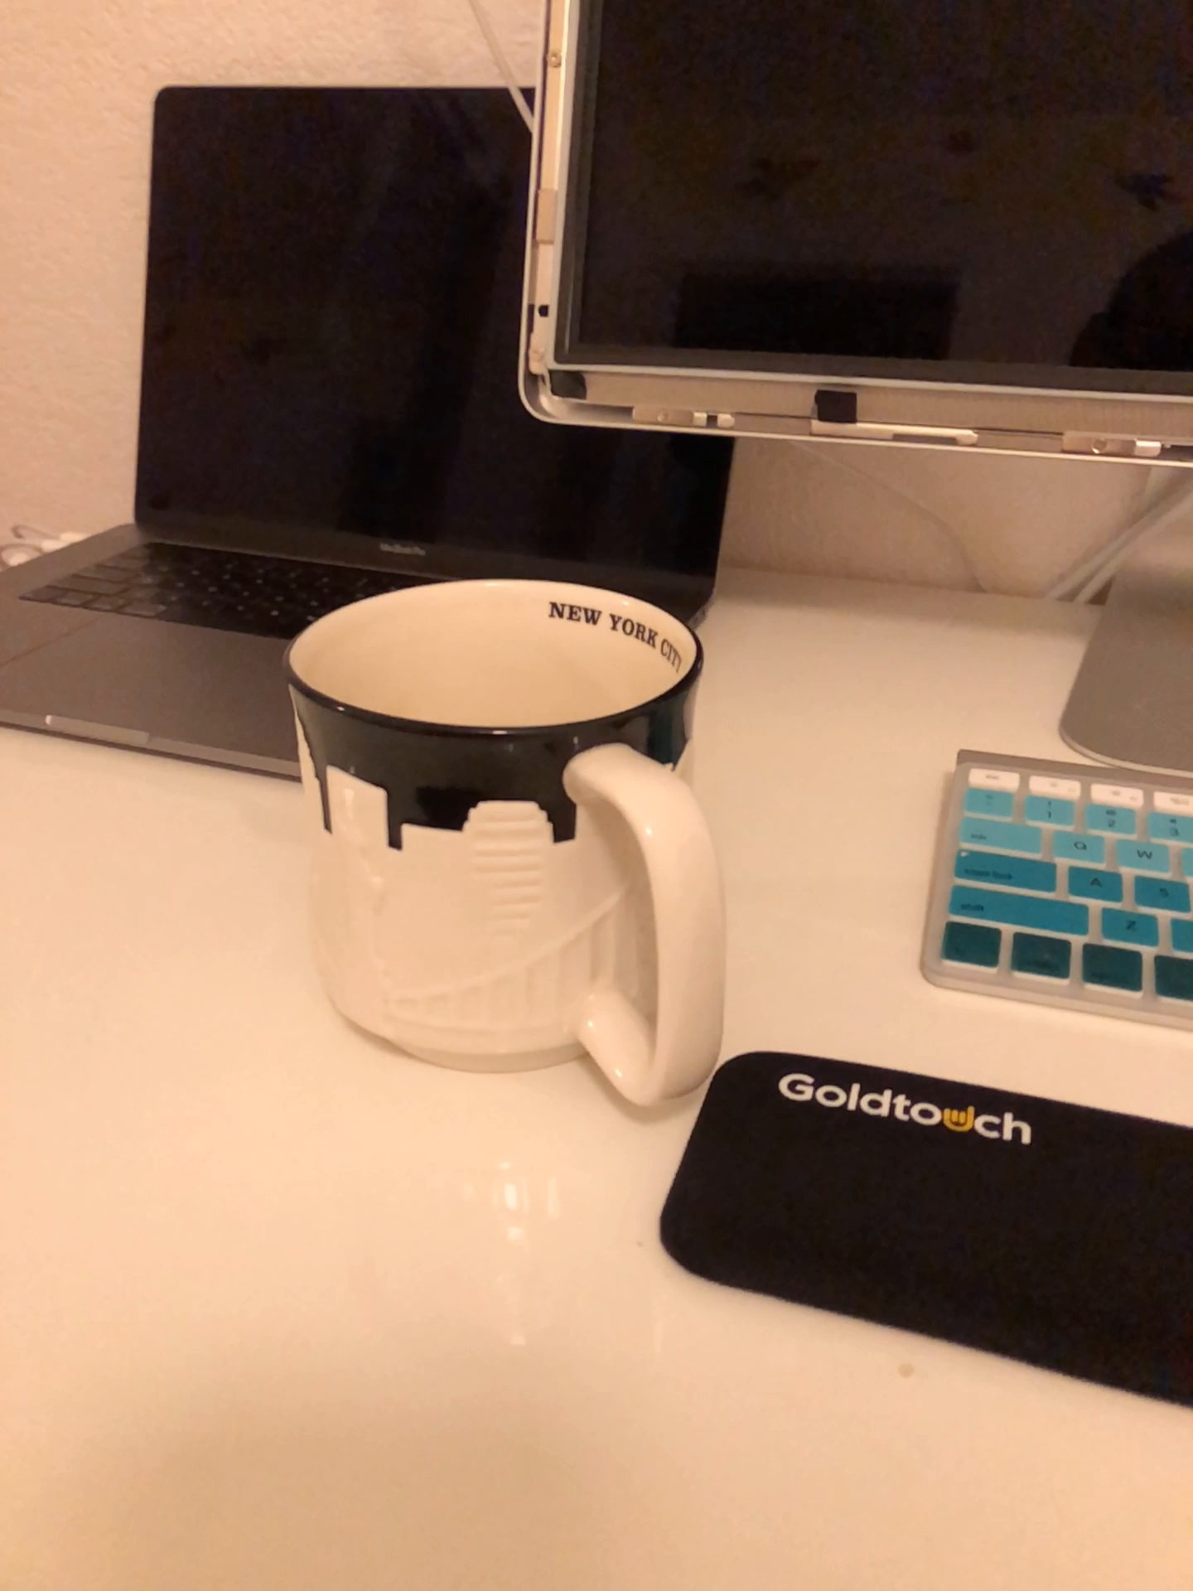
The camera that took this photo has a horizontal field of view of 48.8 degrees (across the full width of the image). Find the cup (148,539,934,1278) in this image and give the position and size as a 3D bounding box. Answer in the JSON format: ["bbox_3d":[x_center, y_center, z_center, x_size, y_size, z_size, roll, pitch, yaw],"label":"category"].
[{"bbox_3d":[-0.022,0.009,0.321,0.110,0.089,0.161,-18,32,-31],"label":"cup"}]
